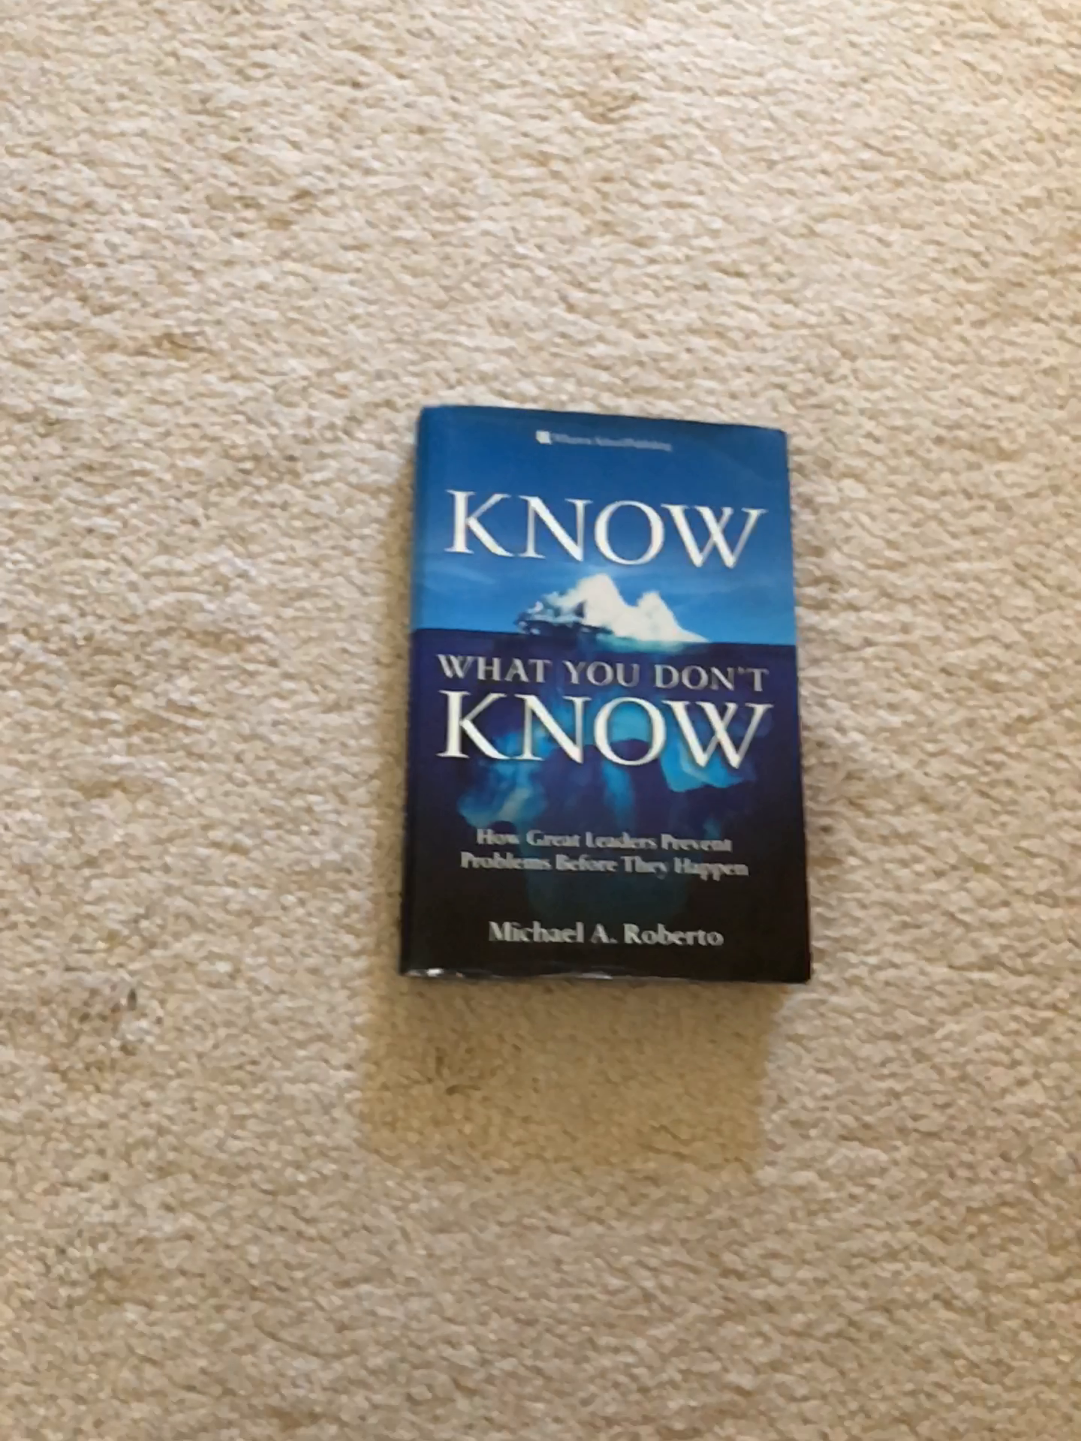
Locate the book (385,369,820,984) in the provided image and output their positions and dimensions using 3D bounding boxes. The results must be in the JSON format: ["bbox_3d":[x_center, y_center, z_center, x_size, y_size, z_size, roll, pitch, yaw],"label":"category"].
[{"bbox_3d":[0.023,-0.018,0.480,0.160,0.034,0.240,2,76,-8],"label":"book"}]
